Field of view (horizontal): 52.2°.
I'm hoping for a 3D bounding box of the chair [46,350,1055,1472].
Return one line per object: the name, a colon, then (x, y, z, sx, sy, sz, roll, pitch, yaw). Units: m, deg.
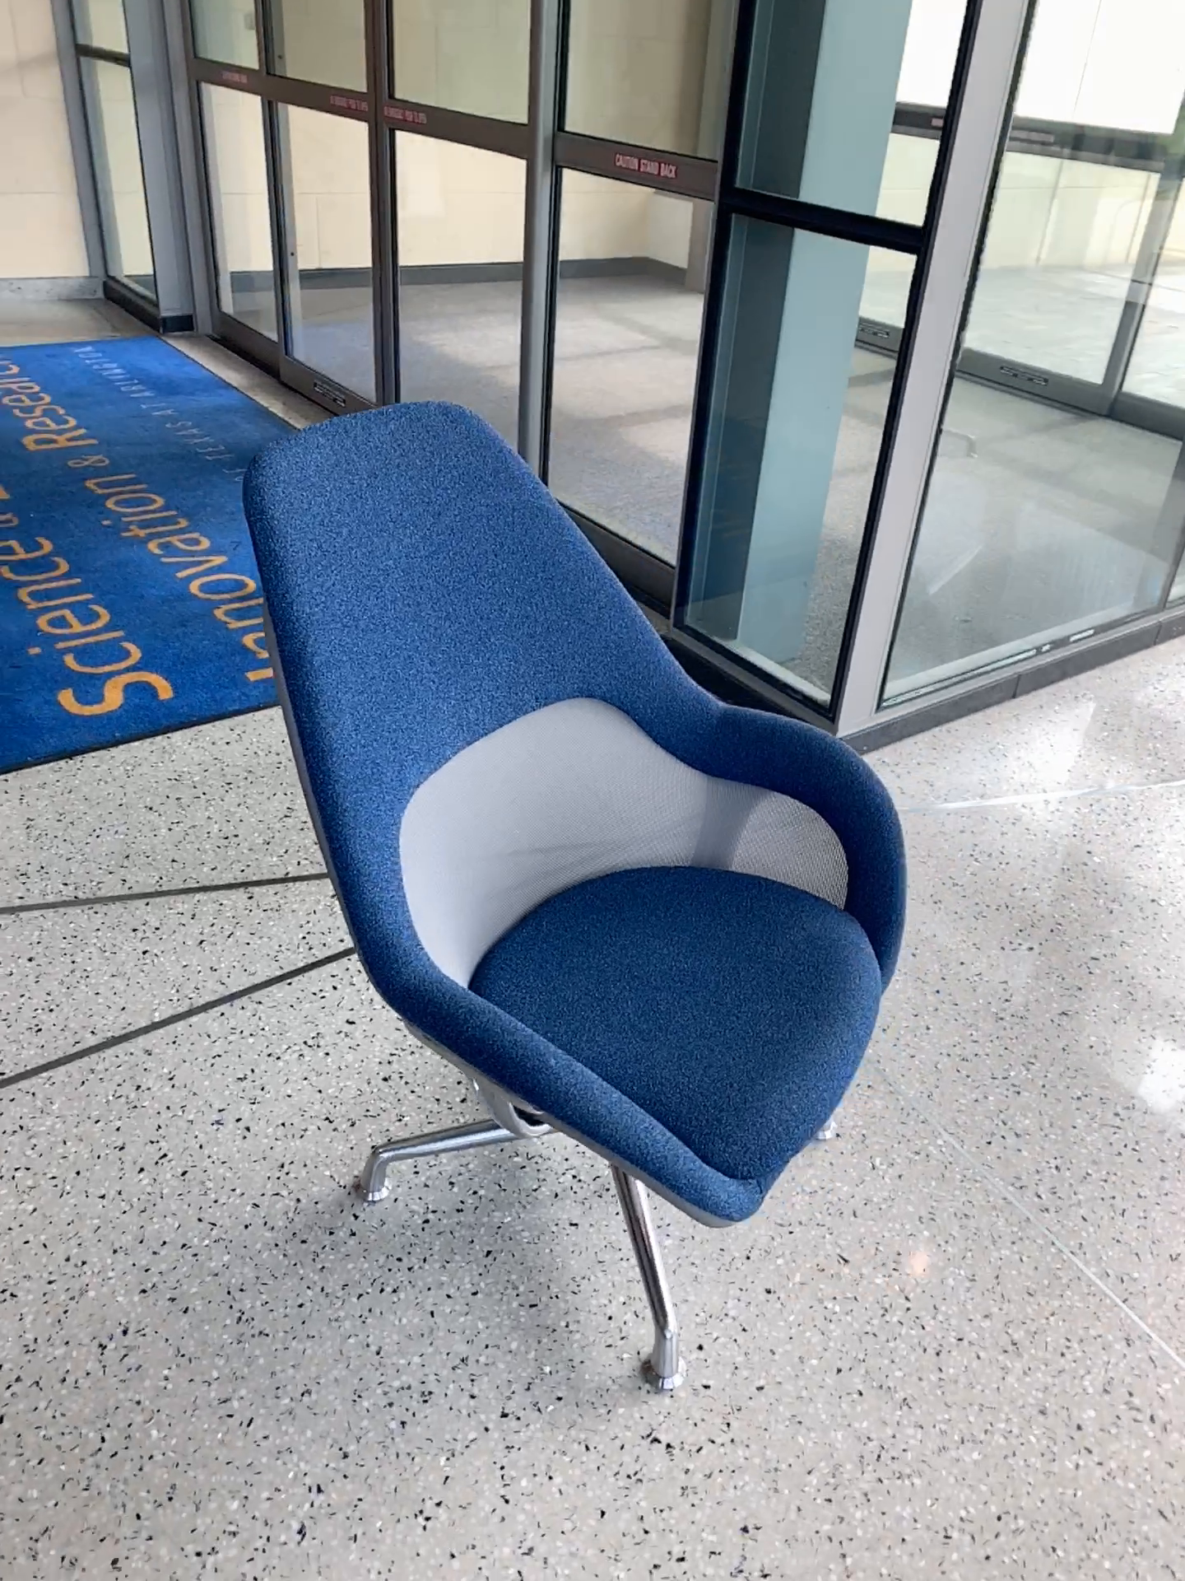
chair: (-0.029, 0.062, 1.505, 0.786, 0.933, 0.729, 21, 36, 25)
